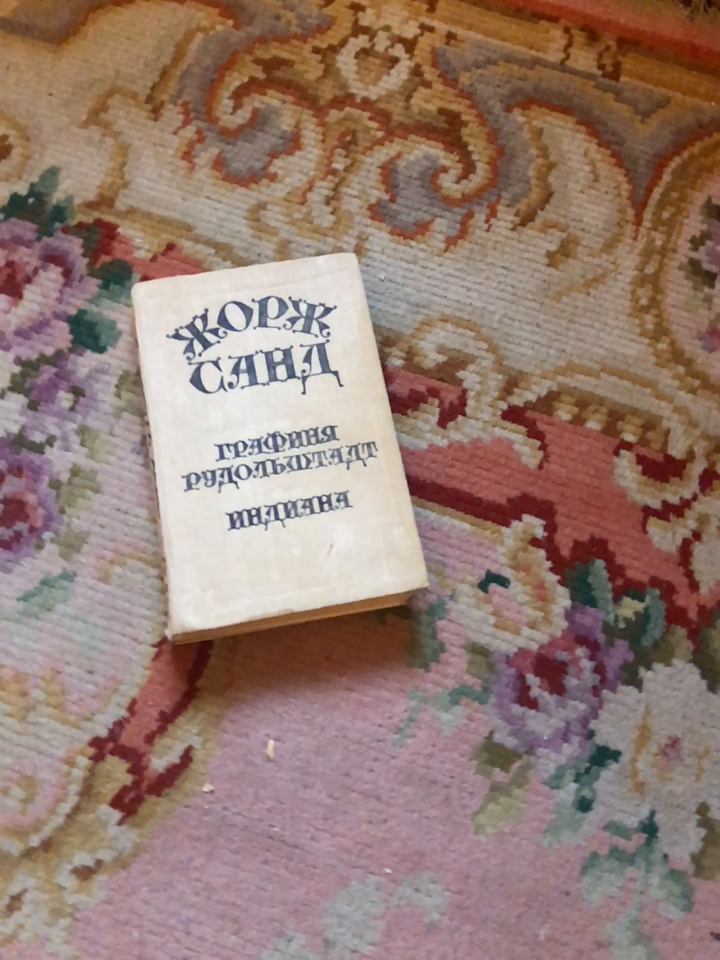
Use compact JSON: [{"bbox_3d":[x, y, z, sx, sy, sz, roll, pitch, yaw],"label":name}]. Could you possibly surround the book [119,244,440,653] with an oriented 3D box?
[{"bbox_3d":[-0.052,-0.022,0.479,0.150,0.057,0.220,-9,73,-6],"label":"book"}]
